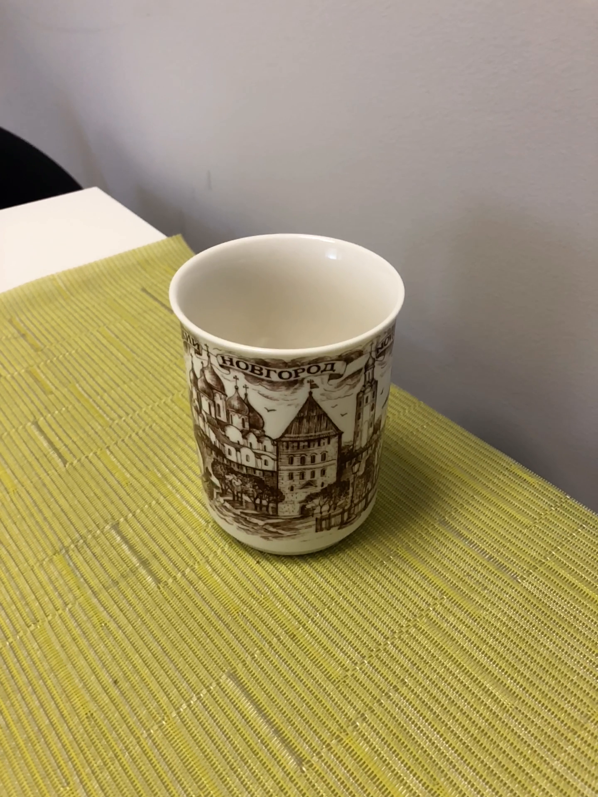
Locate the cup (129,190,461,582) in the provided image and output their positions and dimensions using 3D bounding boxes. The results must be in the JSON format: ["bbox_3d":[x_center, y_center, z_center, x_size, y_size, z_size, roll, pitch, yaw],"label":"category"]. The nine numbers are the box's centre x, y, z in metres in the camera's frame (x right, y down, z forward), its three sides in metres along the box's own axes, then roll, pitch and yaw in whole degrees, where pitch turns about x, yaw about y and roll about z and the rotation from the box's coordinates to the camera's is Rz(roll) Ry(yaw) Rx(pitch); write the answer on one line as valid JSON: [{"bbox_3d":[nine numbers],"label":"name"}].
[{"bbox_3d":[-0.011,-0.013,0.273,0.094,0.092,0.125,-9,39,-11],"label":"cup"}]
